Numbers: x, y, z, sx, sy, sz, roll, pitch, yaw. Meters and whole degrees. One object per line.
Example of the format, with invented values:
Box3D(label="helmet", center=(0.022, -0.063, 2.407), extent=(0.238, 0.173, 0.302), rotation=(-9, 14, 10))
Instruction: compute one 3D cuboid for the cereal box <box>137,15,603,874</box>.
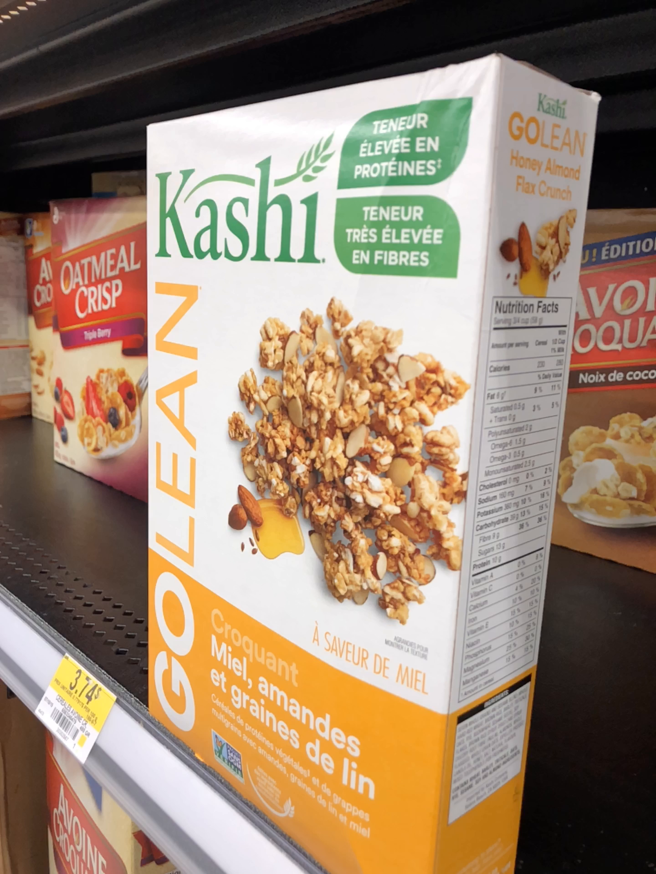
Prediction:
Box3D(label="cereal box", center=(-0.005, 0.014, 0.274), extent=(0.050, 0.269, 0.170), rotation=(-9, 17, -42))
